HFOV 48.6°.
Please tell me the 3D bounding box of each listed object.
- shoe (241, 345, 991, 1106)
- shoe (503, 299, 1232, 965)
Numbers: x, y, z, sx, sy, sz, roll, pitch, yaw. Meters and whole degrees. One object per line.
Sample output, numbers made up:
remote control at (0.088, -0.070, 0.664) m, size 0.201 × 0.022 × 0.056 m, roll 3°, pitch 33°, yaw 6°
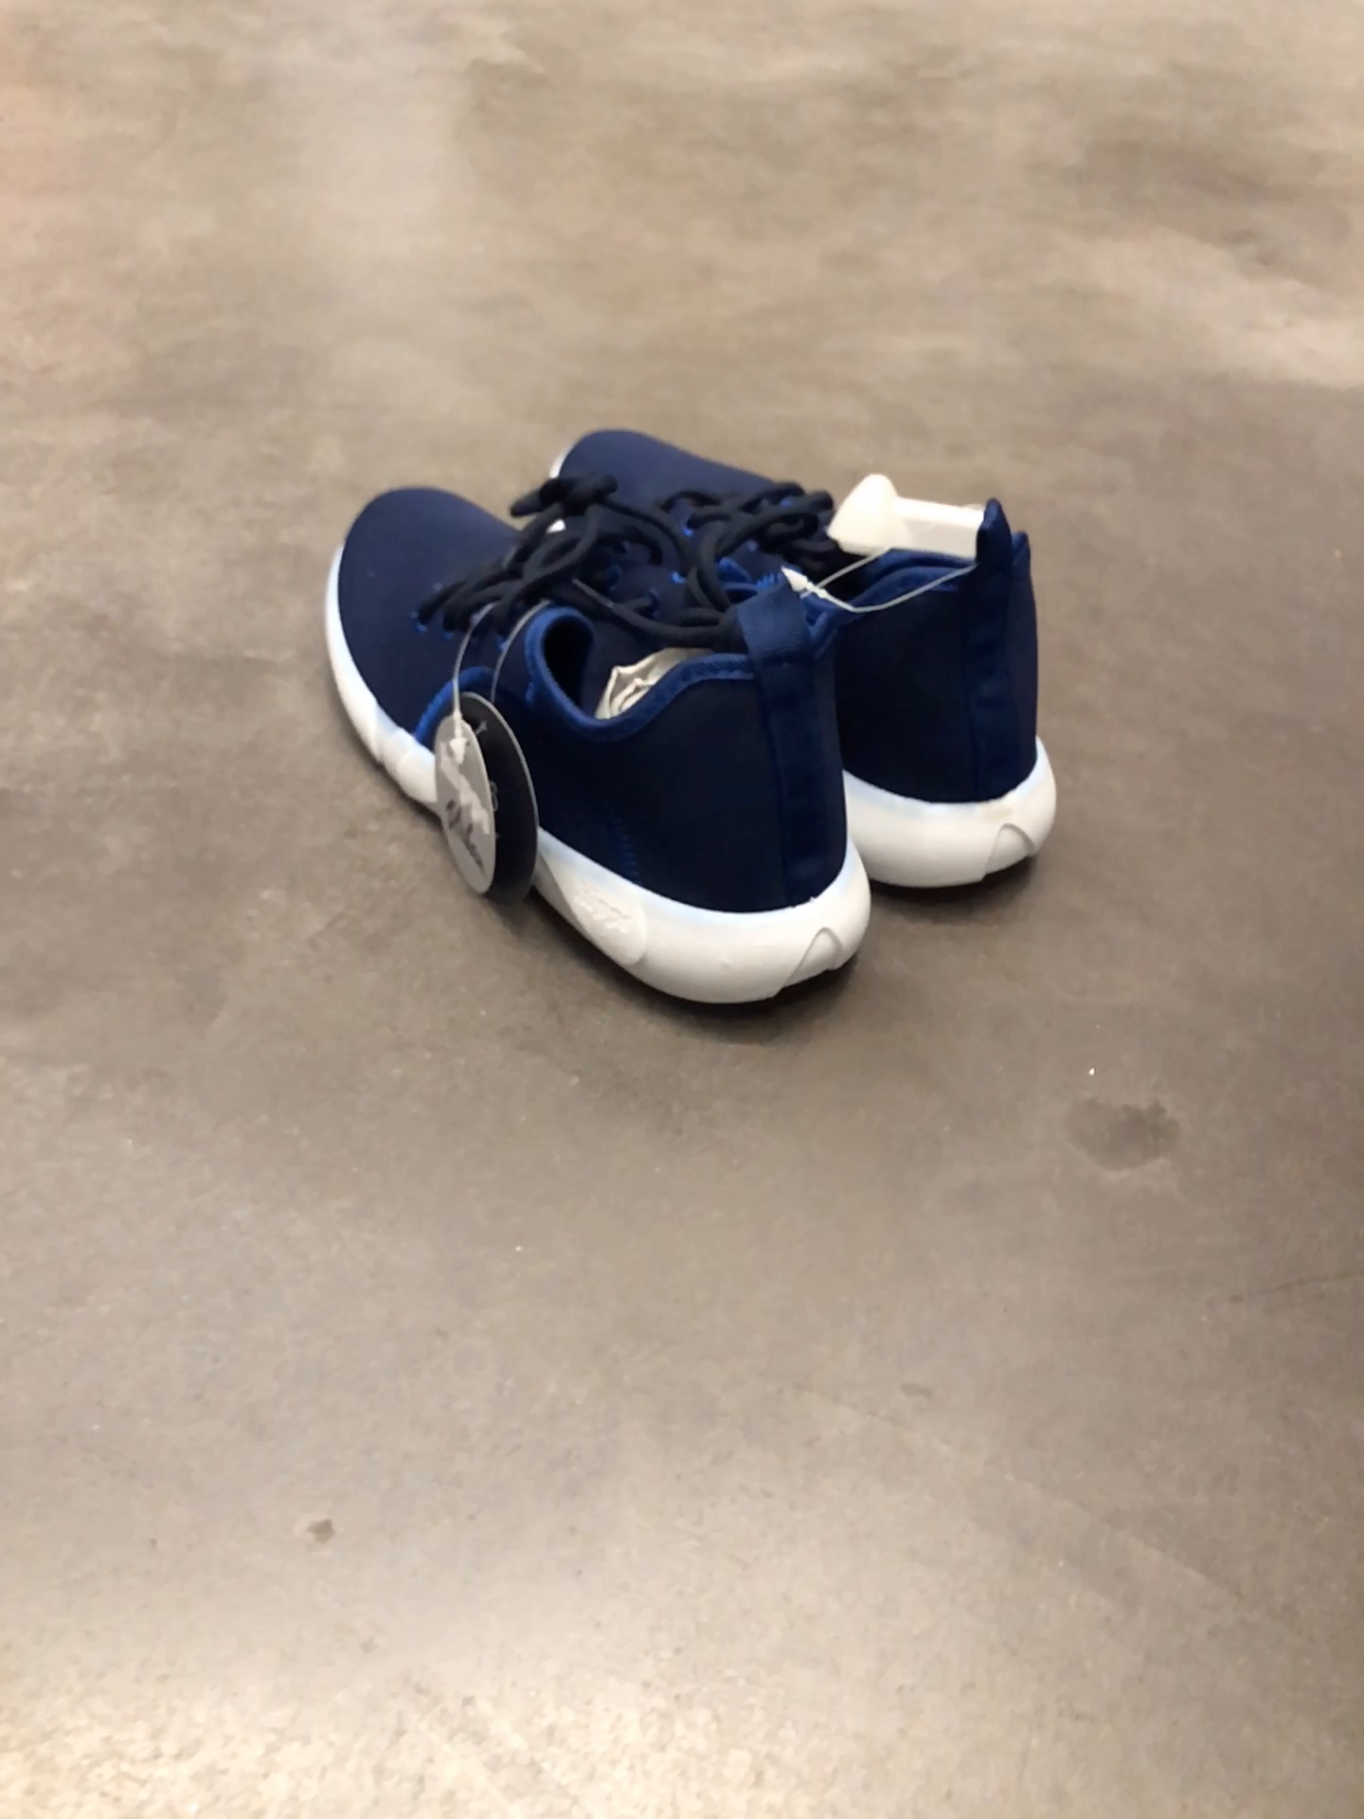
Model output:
shoe at (-0.033, -0.069, 0.443) m, size 0.090 × 0.089 × 0.240 m, roll -22°, pitch 49°, yaw -27°
shoe at (0.041, -0.103, 0.489) m, size 0.090 × 0.089 × 0.240 m, roll -22°, pitch 49°, yaw -27°
